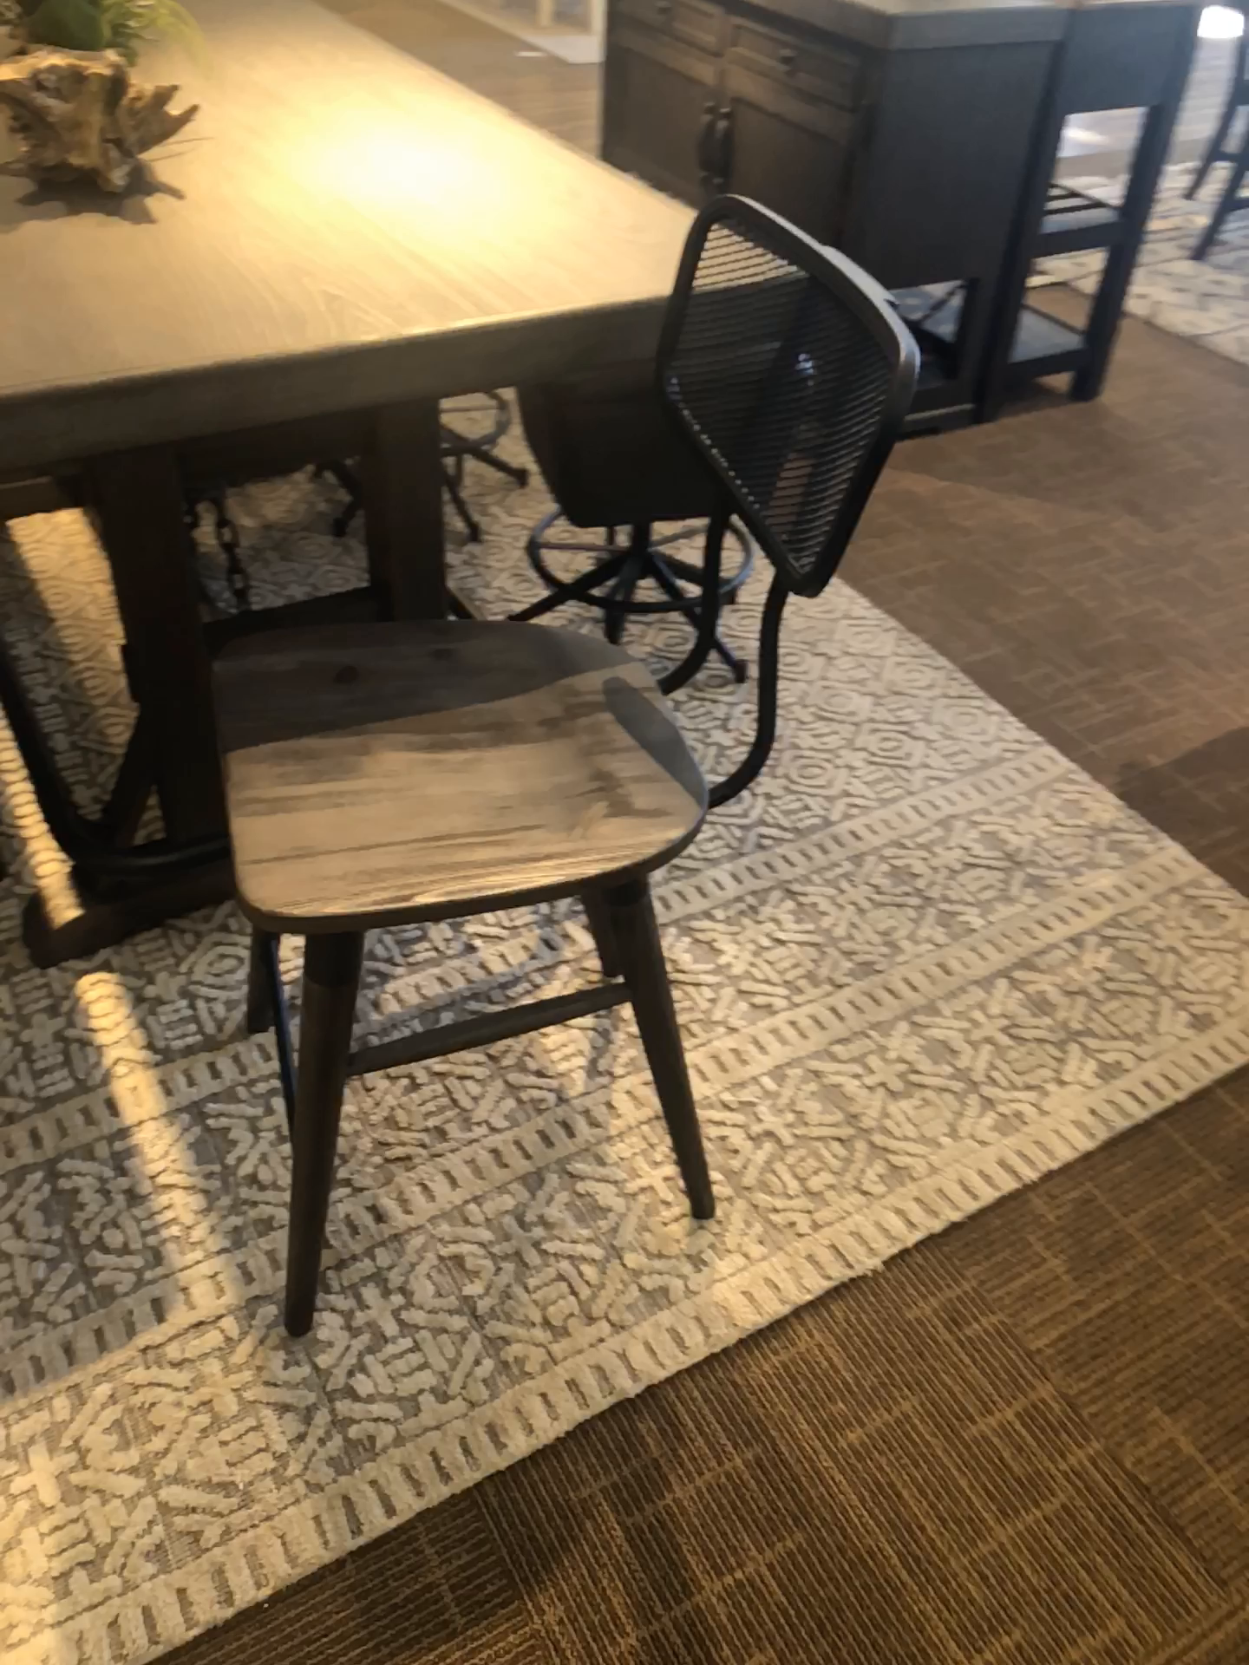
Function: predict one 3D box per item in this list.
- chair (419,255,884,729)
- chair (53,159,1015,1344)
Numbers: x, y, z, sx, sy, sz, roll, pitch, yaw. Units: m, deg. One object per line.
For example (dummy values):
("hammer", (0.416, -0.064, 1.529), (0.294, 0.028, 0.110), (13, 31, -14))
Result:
("chair", (0.008, -0.598, 2.305), (0.520, 0.488, 0.637), (-13, 42, -19))
("chair", (-0.124, -0.061, 1.324), (0.604, 0.947, 0.509), (-9, 41, -15))
